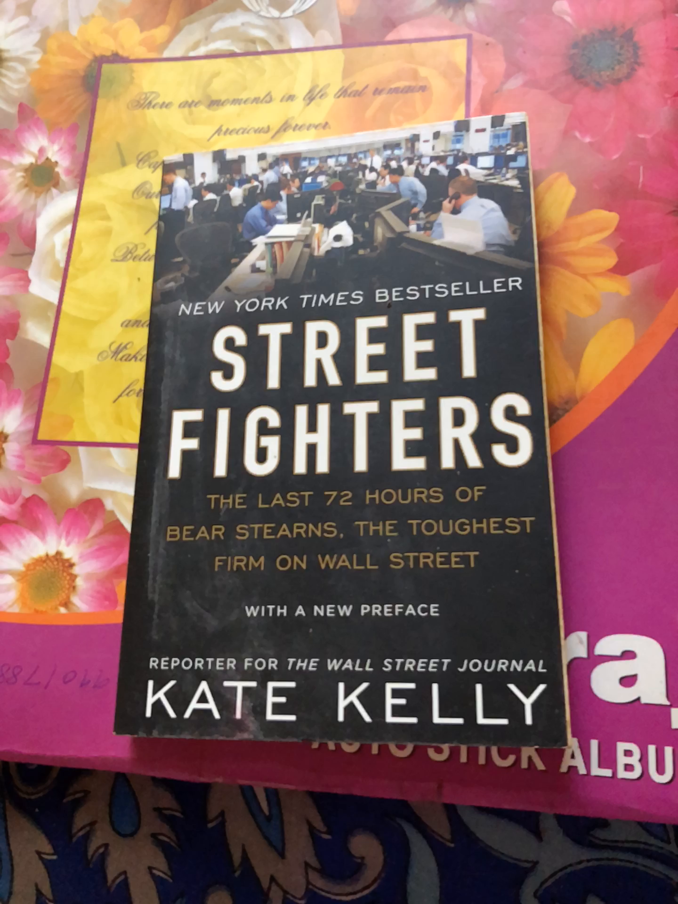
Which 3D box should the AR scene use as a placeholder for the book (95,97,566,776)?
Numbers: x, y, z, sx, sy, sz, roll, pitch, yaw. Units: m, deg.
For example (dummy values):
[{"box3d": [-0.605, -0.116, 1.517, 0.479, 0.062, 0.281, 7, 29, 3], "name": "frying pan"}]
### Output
[{"box3d": [-0.003, -0.009, 0.259, 0.140, 0.030, 0.210, -3, 75, 15], "name": "book"}]
